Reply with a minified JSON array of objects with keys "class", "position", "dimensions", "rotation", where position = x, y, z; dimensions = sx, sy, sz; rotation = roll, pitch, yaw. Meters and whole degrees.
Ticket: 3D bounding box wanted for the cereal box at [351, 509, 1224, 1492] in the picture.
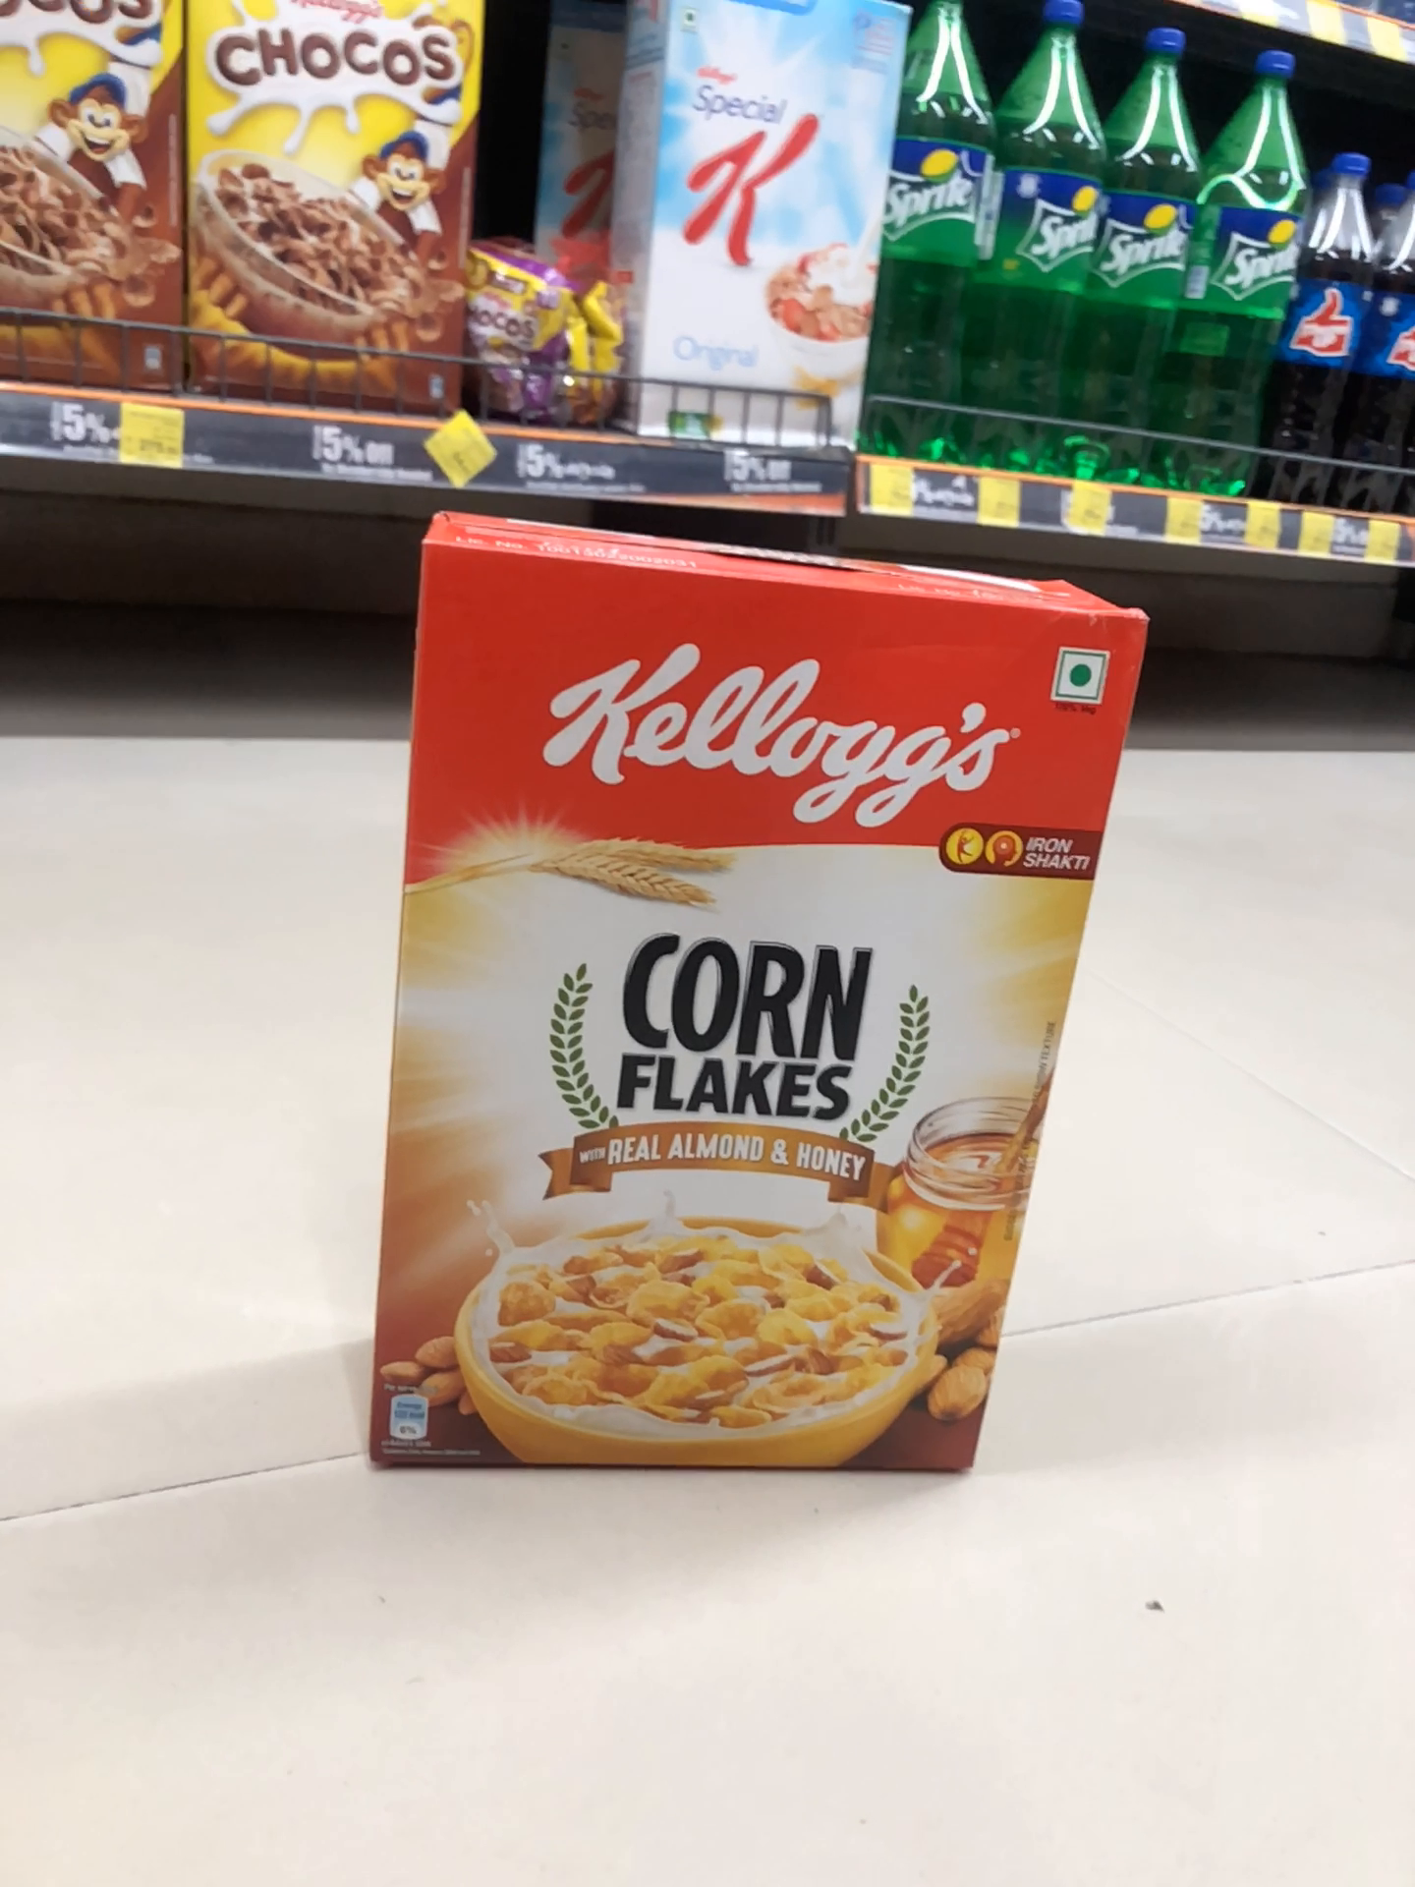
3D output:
[{"class":"cereal box","position":[0.008,0.024,0.428],"dimensions":[0.190,0.249,0.070],"rotation":[4,20,-9]}]
